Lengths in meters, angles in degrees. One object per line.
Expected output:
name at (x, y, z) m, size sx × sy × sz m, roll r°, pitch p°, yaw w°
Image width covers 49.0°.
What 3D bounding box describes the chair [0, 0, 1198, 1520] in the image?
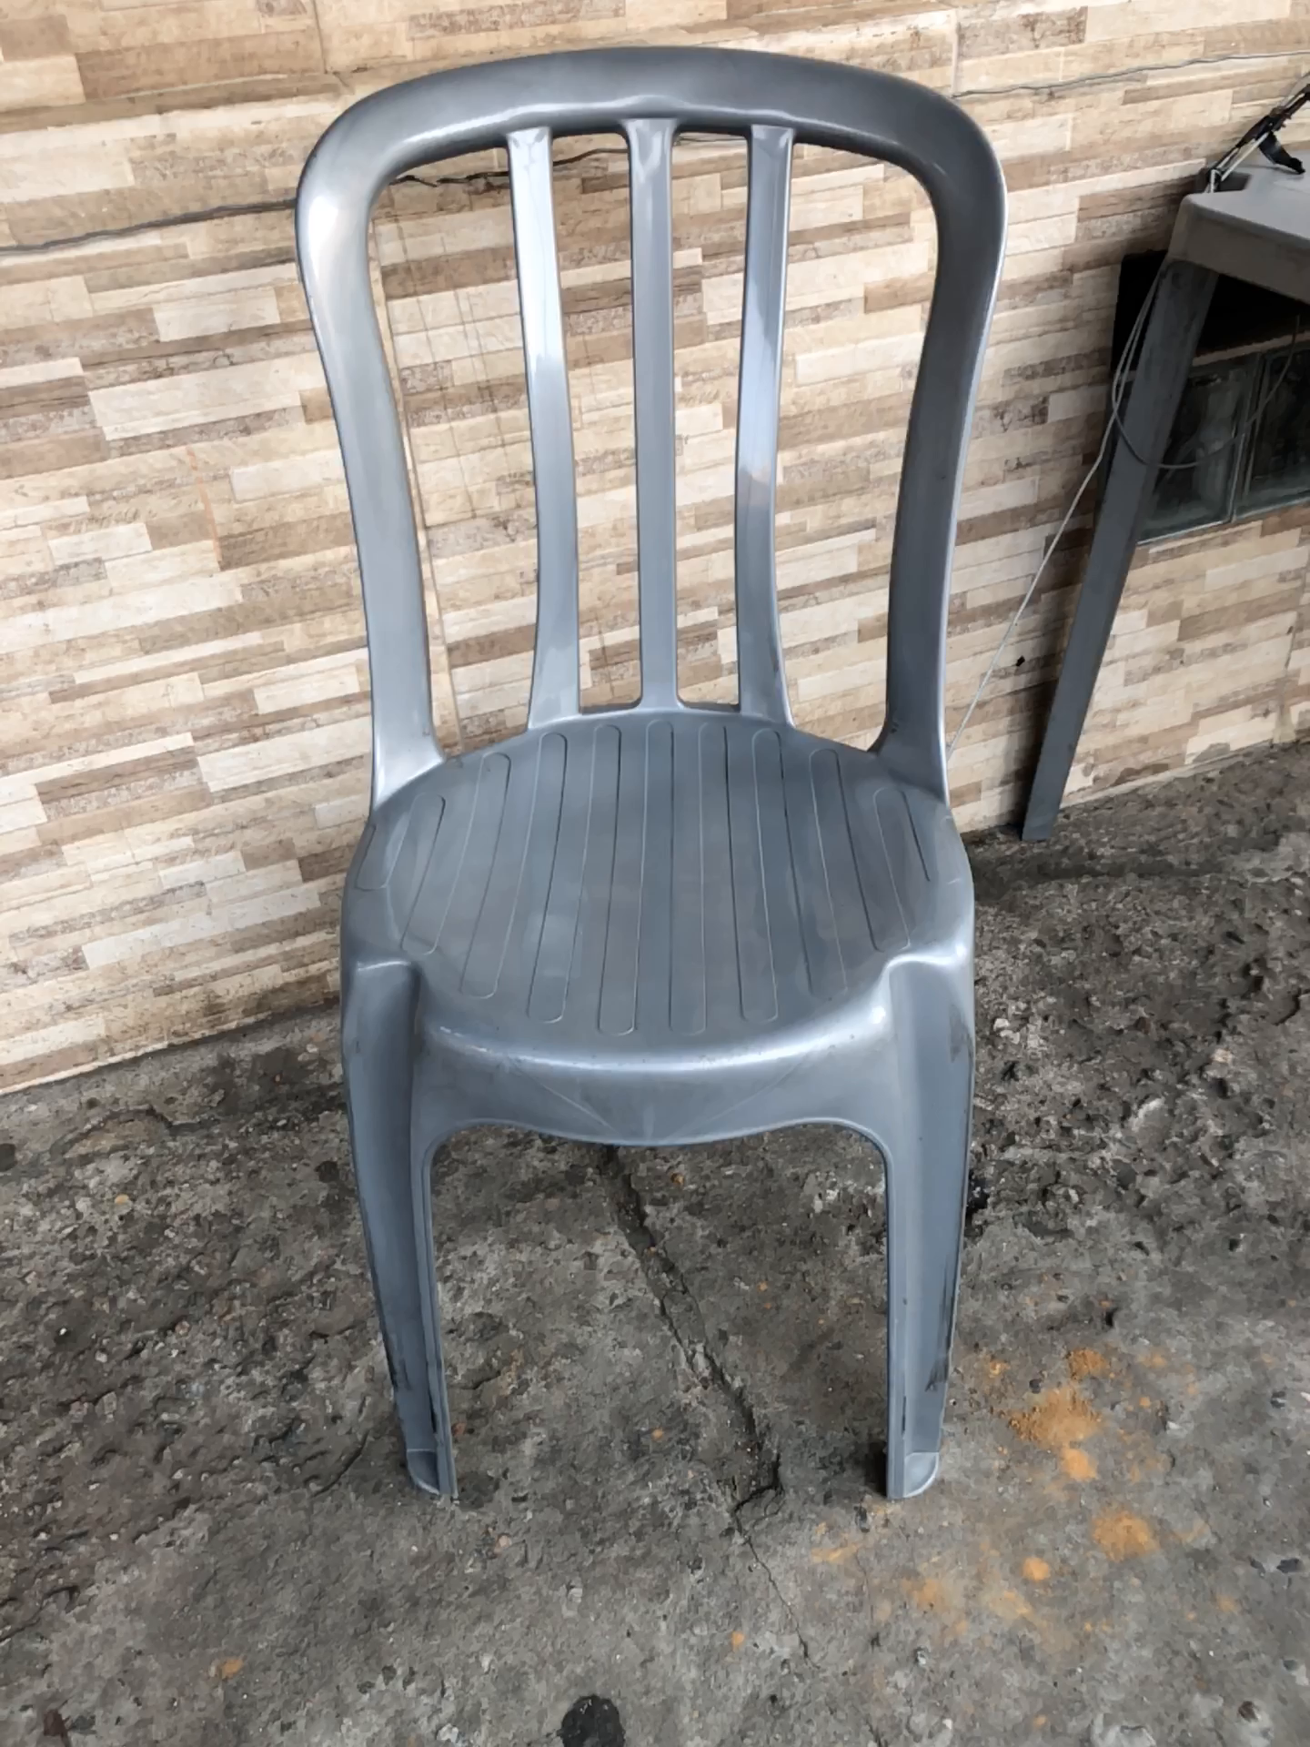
chair at (-0.004, -0.047, 0.938) m, size 0.440 × 0.834 × 0.504 m, roll -2°, pitch 36°, yaw 4°
